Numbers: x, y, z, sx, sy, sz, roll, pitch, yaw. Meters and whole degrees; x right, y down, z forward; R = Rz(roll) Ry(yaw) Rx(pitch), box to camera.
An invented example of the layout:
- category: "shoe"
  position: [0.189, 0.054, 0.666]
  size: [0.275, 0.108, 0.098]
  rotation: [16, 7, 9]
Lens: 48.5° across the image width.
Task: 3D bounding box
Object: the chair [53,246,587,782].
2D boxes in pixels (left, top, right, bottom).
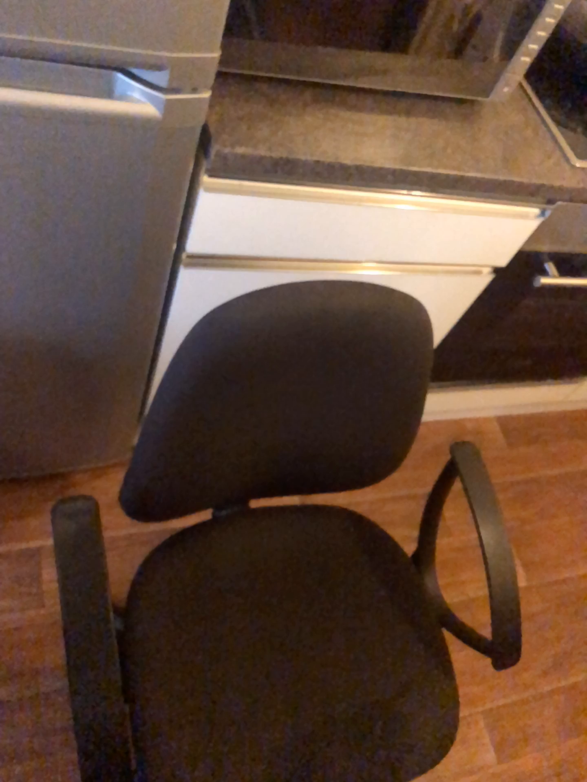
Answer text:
- category: "chair"
  position: [0.007, 0.332, 0.989]
  size: [0.638, 0.883, 0.644]
  rotation: [-5, 61, -23]
